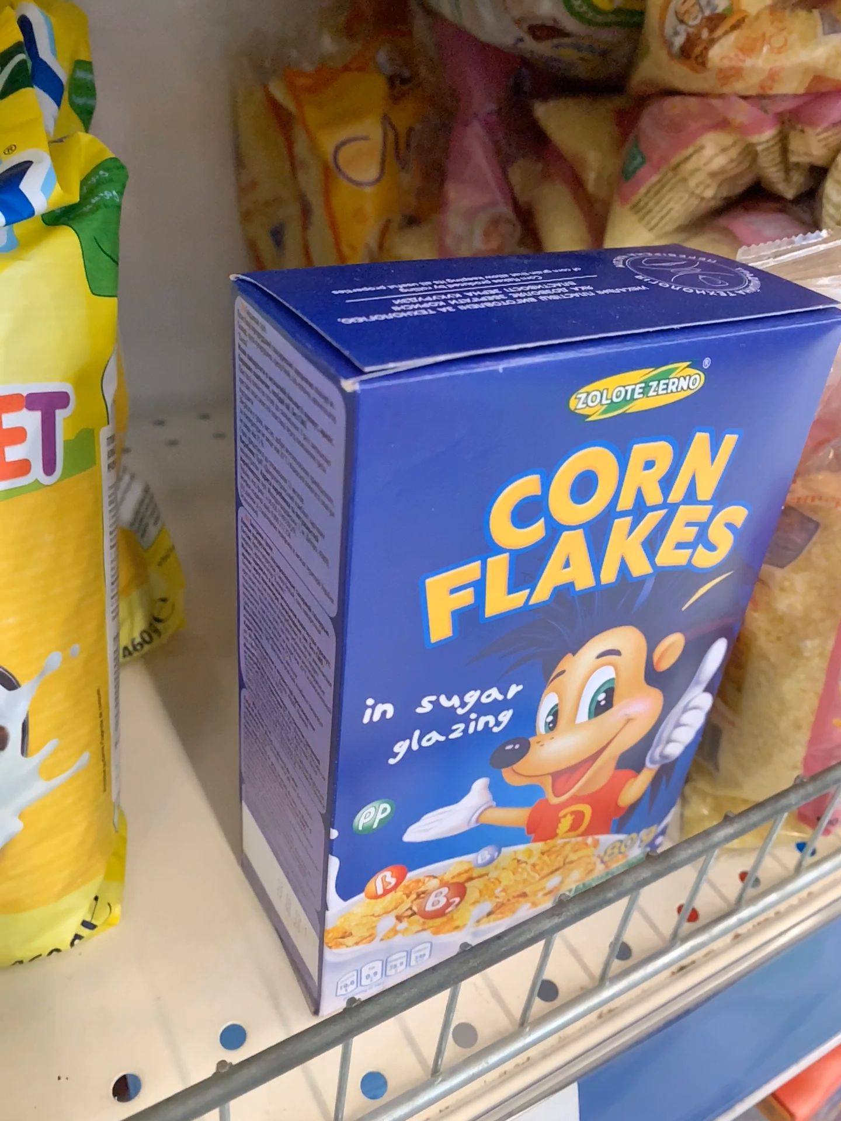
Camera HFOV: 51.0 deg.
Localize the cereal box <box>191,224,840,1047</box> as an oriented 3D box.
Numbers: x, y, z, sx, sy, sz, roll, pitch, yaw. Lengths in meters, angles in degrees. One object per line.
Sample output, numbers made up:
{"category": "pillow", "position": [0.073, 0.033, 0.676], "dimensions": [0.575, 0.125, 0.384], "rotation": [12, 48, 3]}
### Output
{"category": "cereal box", "position": [0.024, 0.016, 0.198], "dimensions": [0.130, 0.159, 0.050], "rotation": [-14, 39, -26]}
